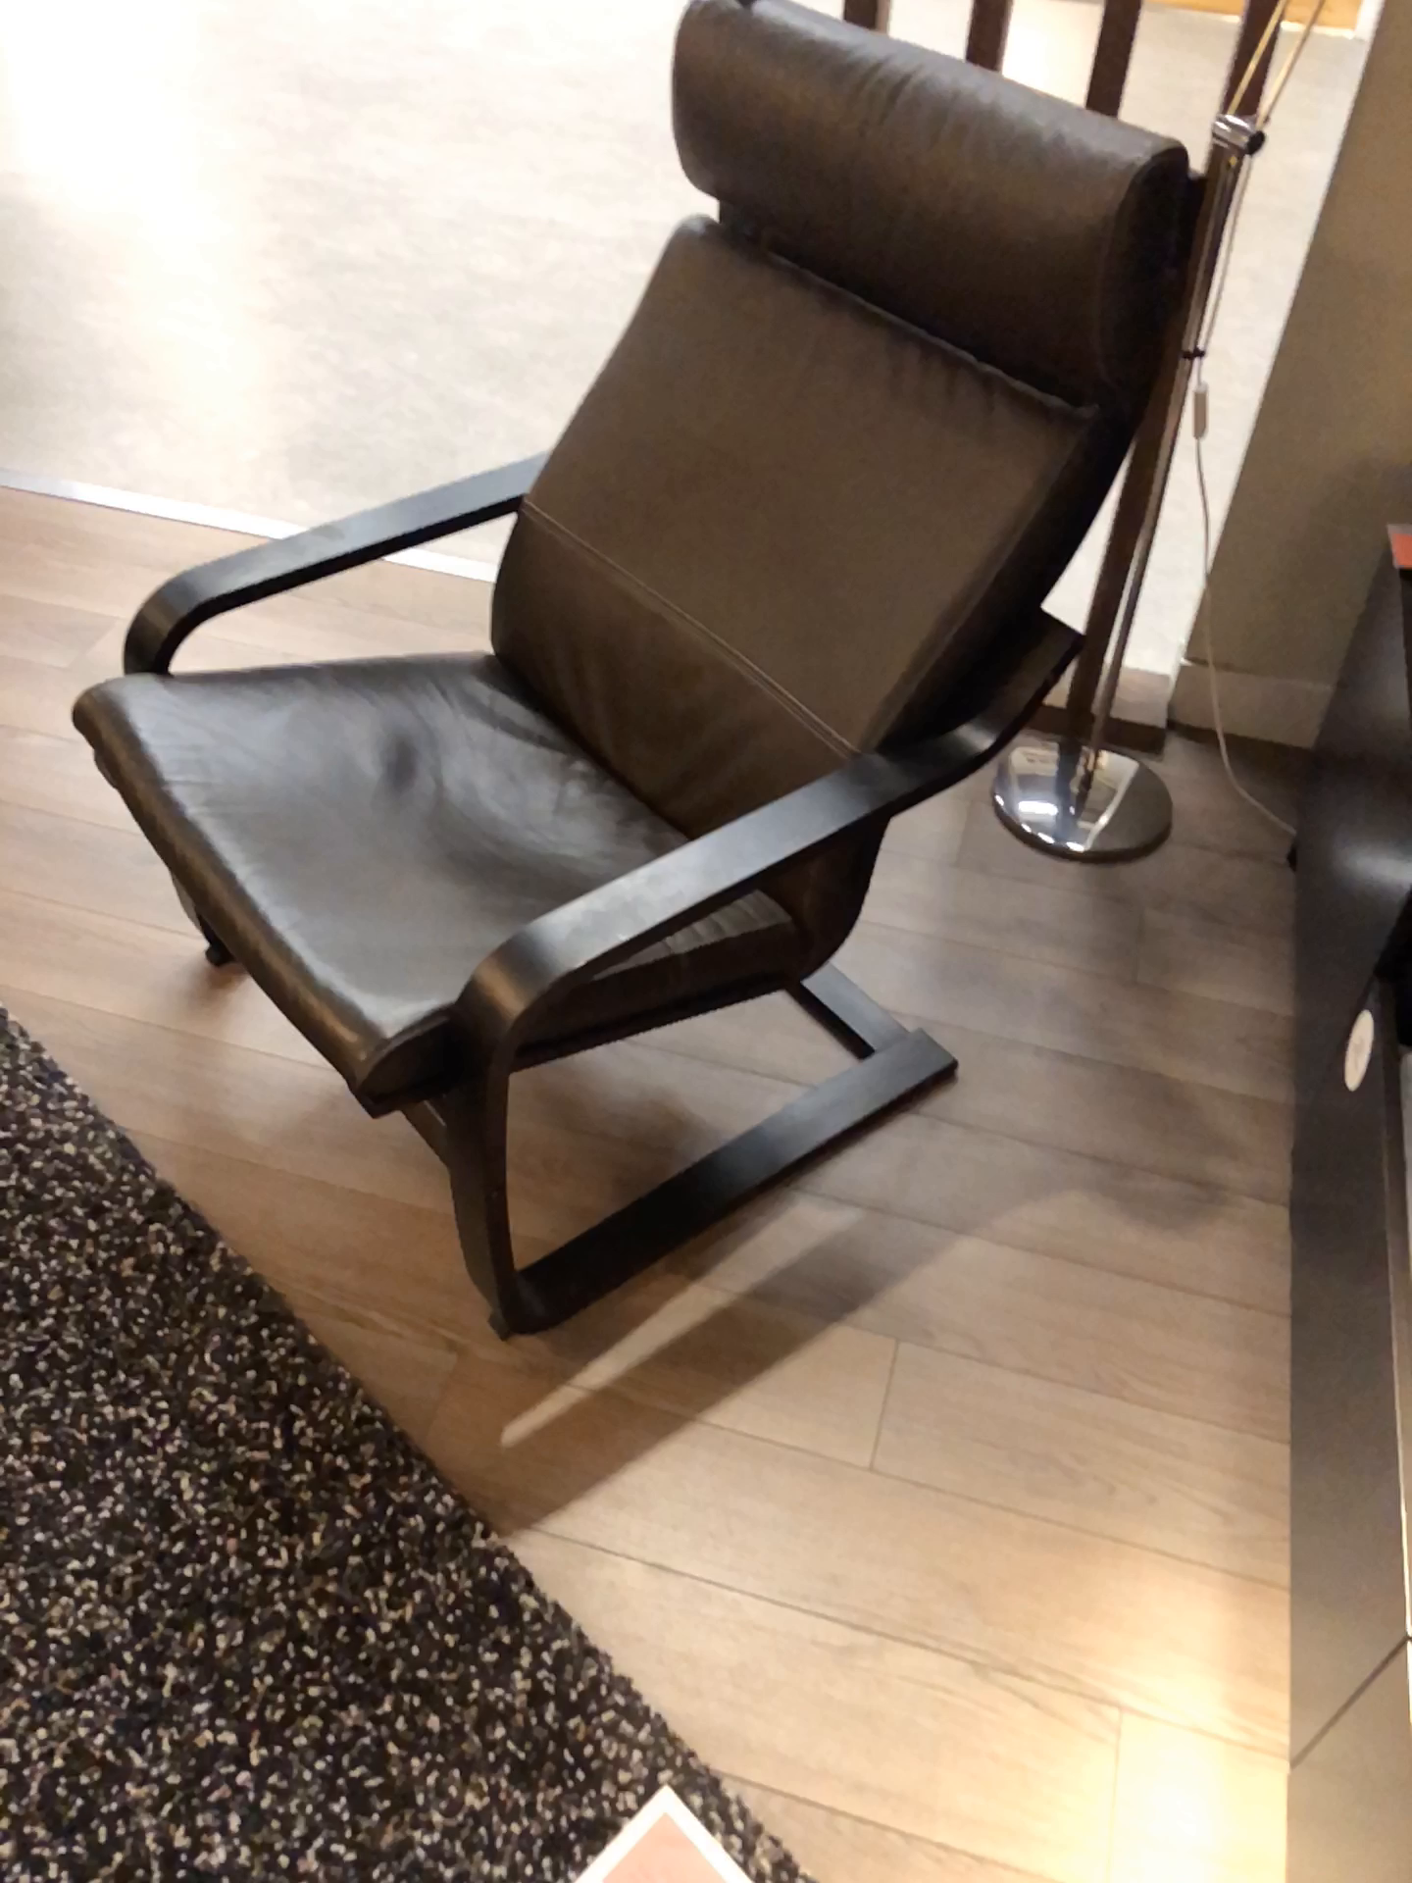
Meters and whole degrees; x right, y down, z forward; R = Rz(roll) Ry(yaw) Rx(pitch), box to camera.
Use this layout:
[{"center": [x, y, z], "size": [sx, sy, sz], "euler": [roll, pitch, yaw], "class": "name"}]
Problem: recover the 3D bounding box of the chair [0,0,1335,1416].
[{"center": [-0.122, -0.285, 1.392], "size": [0.731, 0.876, 0.782], "euler": [-28, 52, -28], "class": "chair"}]
